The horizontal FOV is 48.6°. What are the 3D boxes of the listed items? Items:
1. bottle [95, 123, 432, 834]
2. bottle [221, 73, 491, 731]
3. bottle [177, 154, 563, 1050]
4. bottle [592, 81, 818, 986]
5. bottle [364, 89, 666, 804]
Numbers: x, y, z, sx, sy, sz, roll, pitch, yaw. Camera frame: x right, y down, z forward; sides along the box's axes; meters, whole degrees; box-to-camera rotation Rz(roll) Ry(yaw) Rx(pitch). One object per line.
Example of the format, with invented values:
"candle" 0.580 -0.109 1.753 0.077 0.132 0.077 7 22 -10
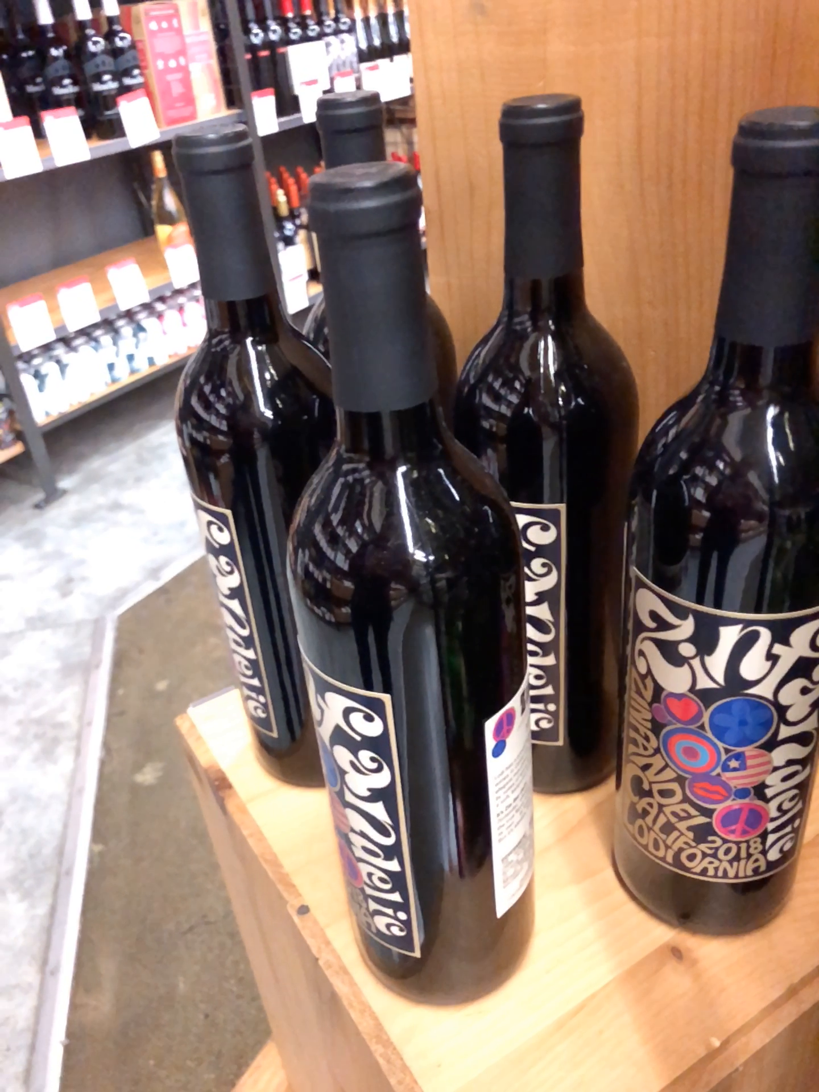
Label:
"bottle" -0.054 -0.017 0.411 0.077 0.304 0.080 -4 32 3
"bottle" -0.014 -0.051 0.412 0.080 0.280 0.077 -4 32 3
"bottle" 0.000 0.035 0.295 0.070 0.286 0.073 -4 32 3
"bottle" 0.115 0.016 0.319 0.080 0.310 0.077 -4 32 3
"bottle" 0.049 -0.028 0.372 0.080 0.274 0.077 -4 32 3
